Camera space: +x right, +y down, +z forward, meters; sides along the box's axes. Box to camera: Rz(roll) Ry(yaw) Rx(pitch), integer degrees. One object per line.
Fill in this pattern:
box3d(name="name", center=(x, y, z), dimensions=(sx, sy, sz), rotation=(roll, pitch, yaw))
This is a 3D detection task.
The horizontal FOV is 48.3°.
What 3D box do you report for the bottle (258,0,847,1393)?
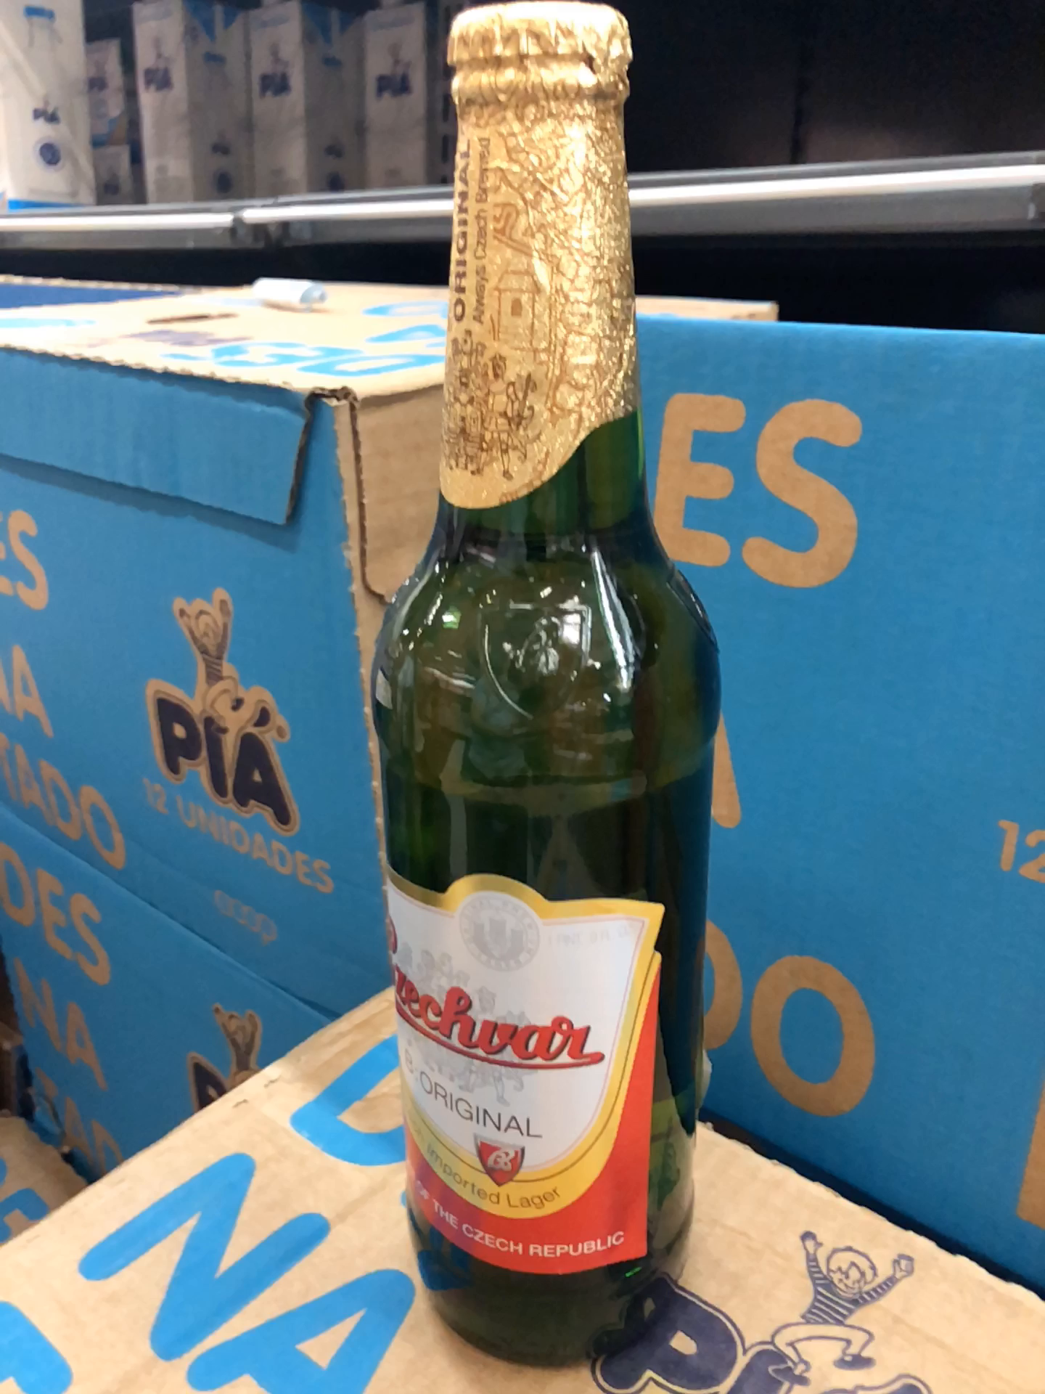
box3d(name="bottle", center=(0.004, 0.006, 0.233), dimensions=(0.070, 0.268, 0.070), rotation=(1, 18, 0))
